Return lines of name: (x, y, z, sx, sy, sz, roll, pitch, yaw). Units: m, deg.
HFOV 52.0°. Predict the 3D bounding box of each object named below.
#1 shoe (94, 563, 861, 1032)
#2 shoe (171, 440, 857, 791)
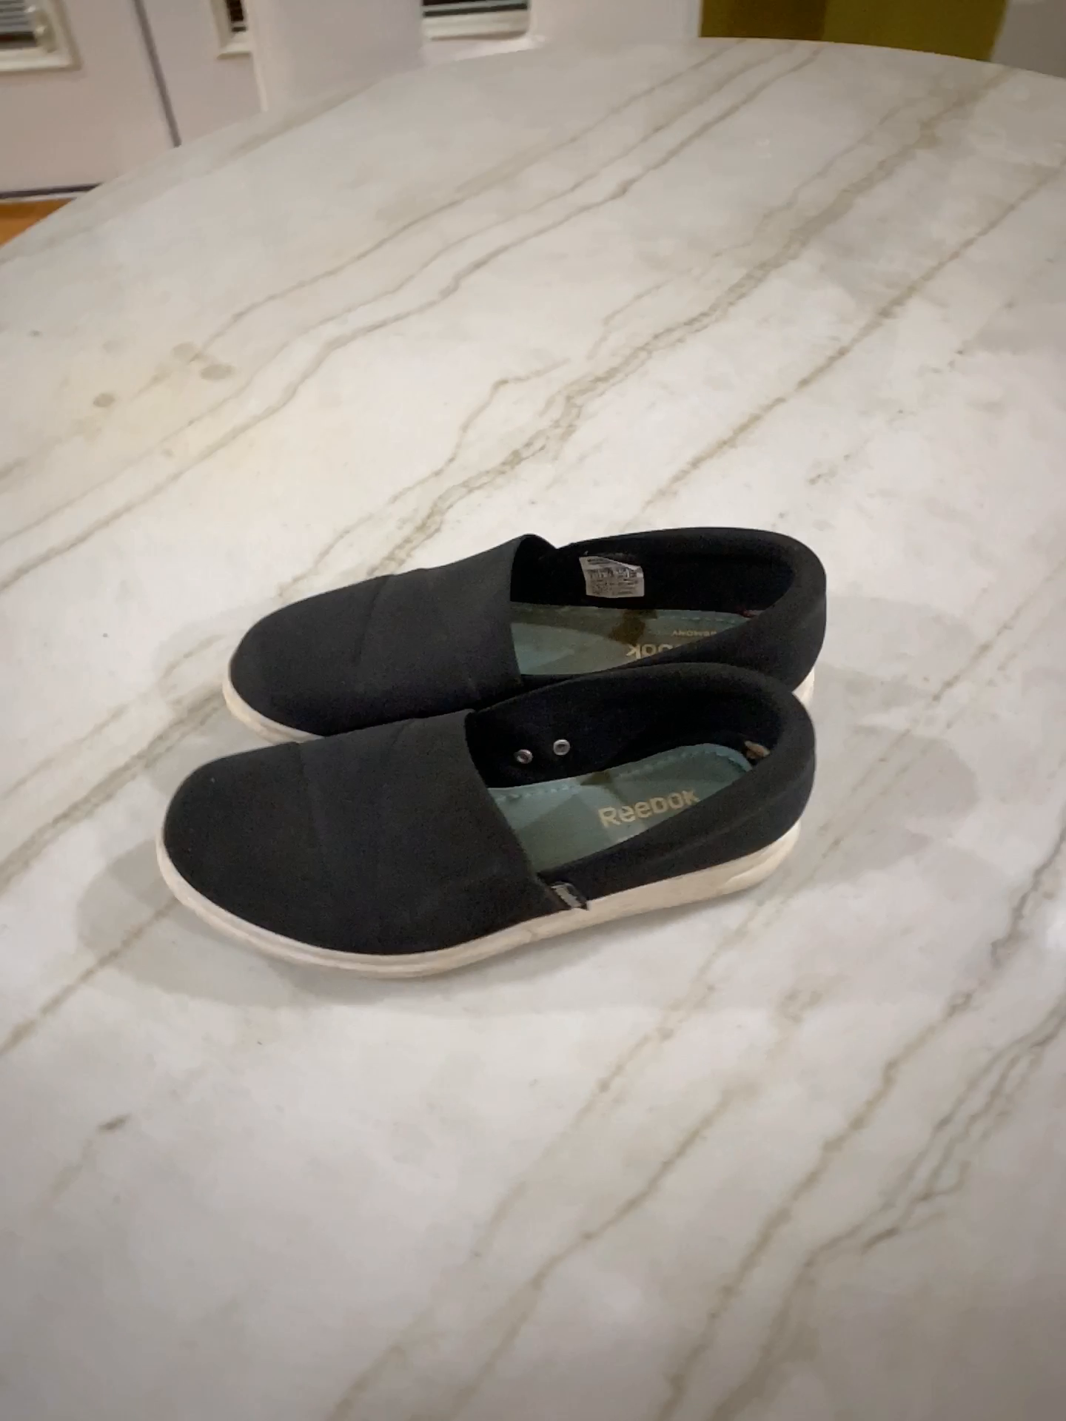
shoe: (-0.021, 0.029, 0.378, 0.229, 0.079, 0.092, -11, 56, -7)
shoe: (-0.008, -0.037, 0.423, 0.229, 0.079, 0.092, -4, 55, -2)
